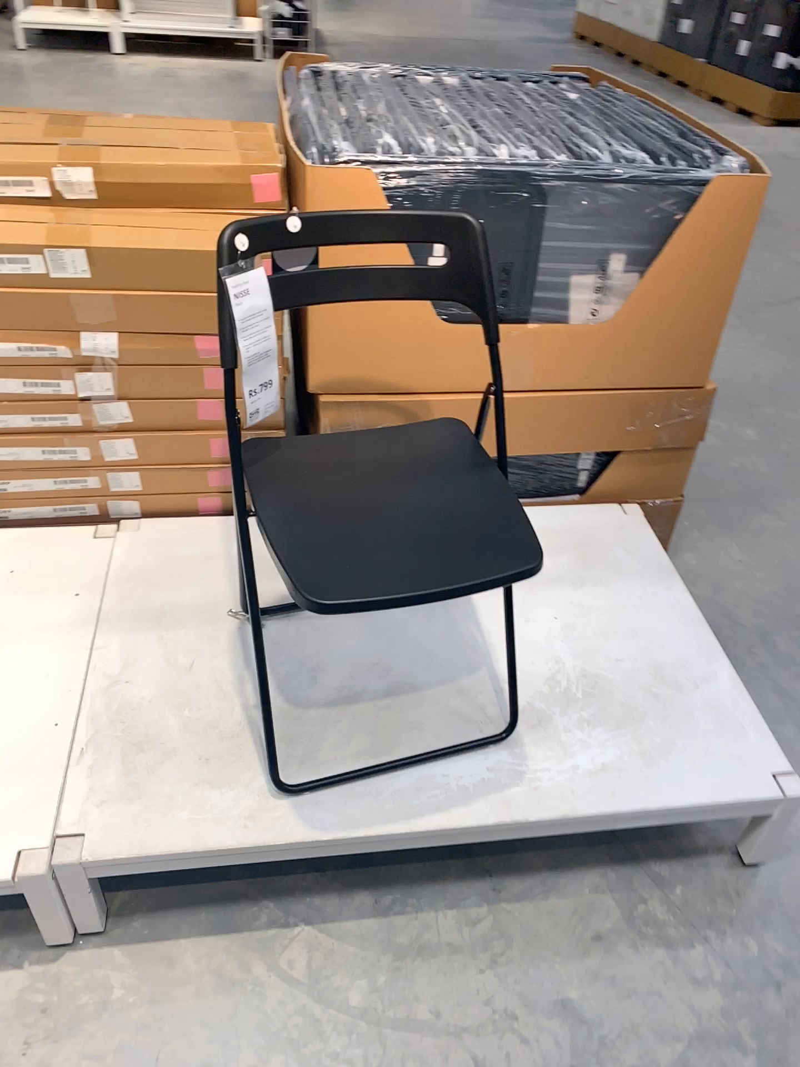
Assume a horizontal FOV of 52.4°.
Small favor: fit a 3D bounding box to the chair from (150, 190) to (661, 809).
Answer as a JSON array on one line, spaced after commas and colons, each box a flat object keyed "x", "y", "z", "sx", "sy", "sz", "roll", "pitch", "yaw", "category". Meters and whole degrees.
[{"x": -0.044, "y": -0.057, "z": 1.125, "sx": 0.460, "sy": 0.657, "sz": 0.452, "roll": -9, "pitch": 40, "yaw": -16, "category": "chair"}]
